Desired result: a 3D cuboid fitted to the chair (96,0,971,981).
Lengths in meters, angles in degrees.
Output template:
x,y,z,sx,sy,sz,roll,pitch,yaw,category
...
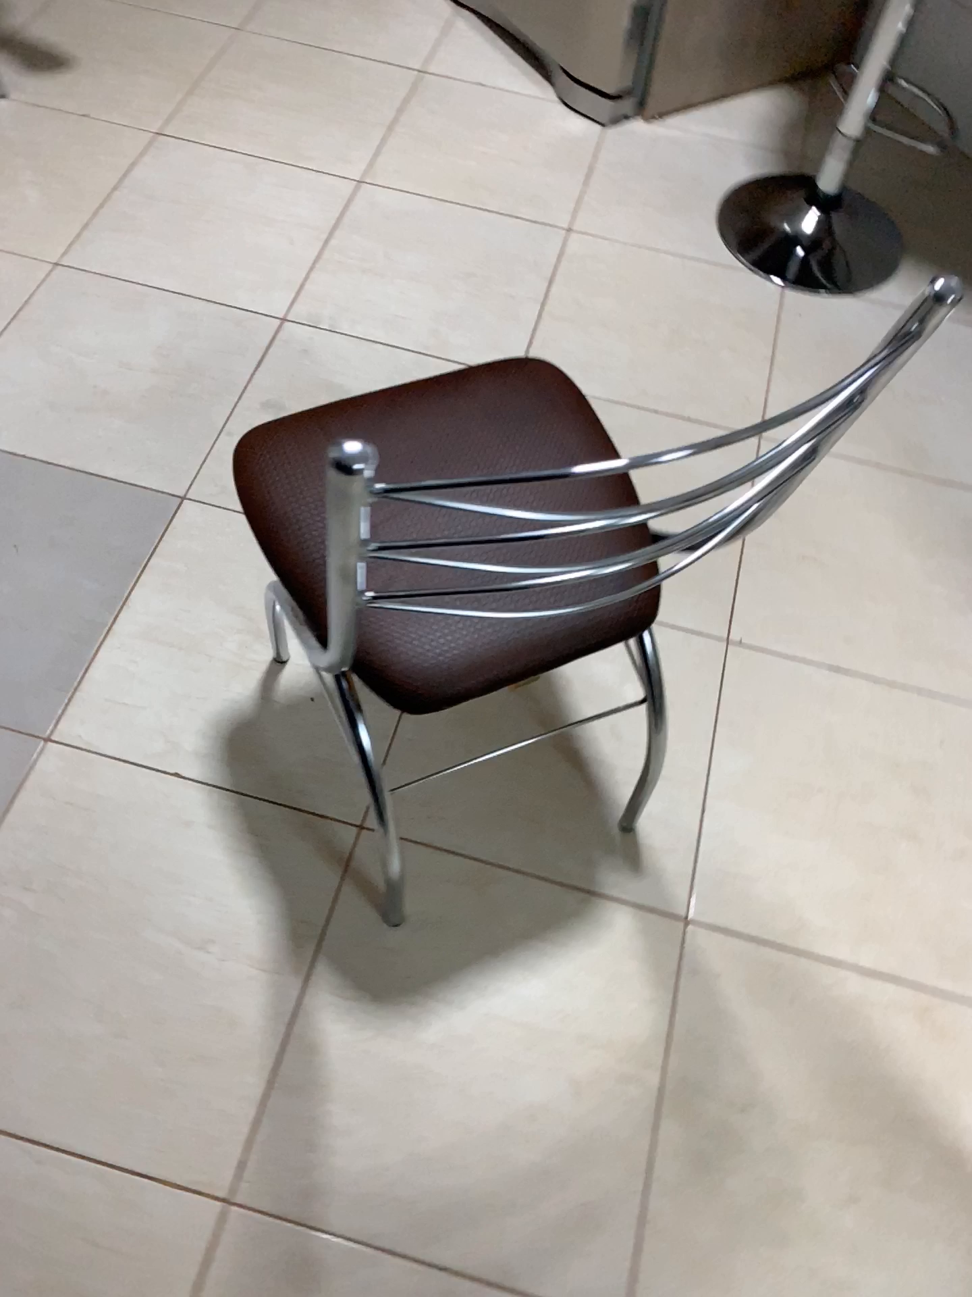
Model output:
x,y,z,sx,sy,sz,roll,pitch,yaw,category
-0.008,-0.088,0.978,0.419,0.873,0.485,-18,62,-15,chair
